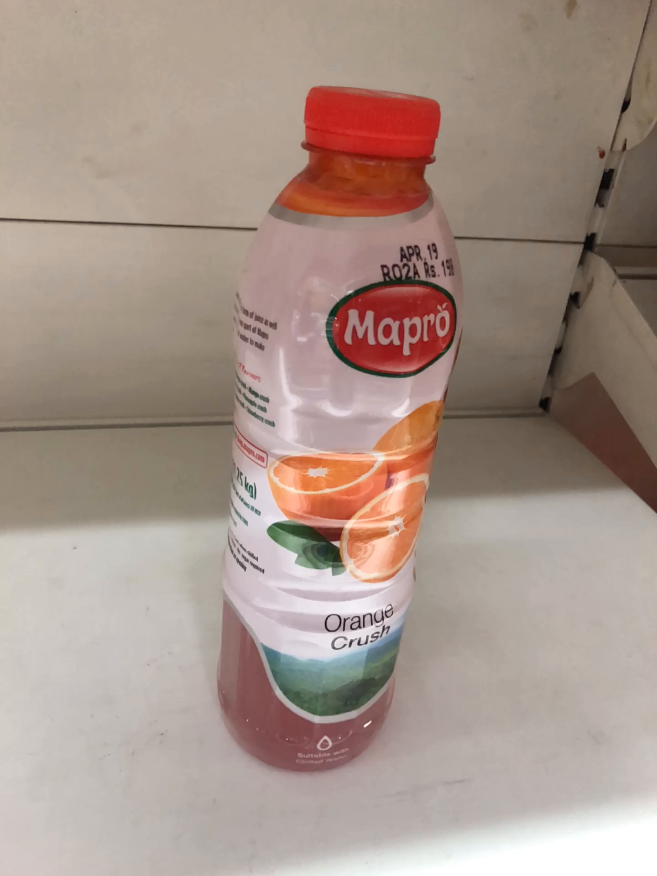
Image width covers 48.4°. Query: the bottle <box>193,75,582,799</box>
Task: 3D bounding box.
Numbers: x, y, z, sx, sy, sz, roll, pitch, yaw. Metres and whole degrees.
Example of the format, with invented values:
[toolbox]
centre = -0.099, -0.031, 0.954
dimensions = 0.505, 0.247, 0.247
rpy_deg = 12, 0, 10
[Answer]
[bottle]
centre = 0.004, 0.009, 0.272
dimensions = 0.090, 0.248, 0.070
rpy_deg = -6, 30, -23
